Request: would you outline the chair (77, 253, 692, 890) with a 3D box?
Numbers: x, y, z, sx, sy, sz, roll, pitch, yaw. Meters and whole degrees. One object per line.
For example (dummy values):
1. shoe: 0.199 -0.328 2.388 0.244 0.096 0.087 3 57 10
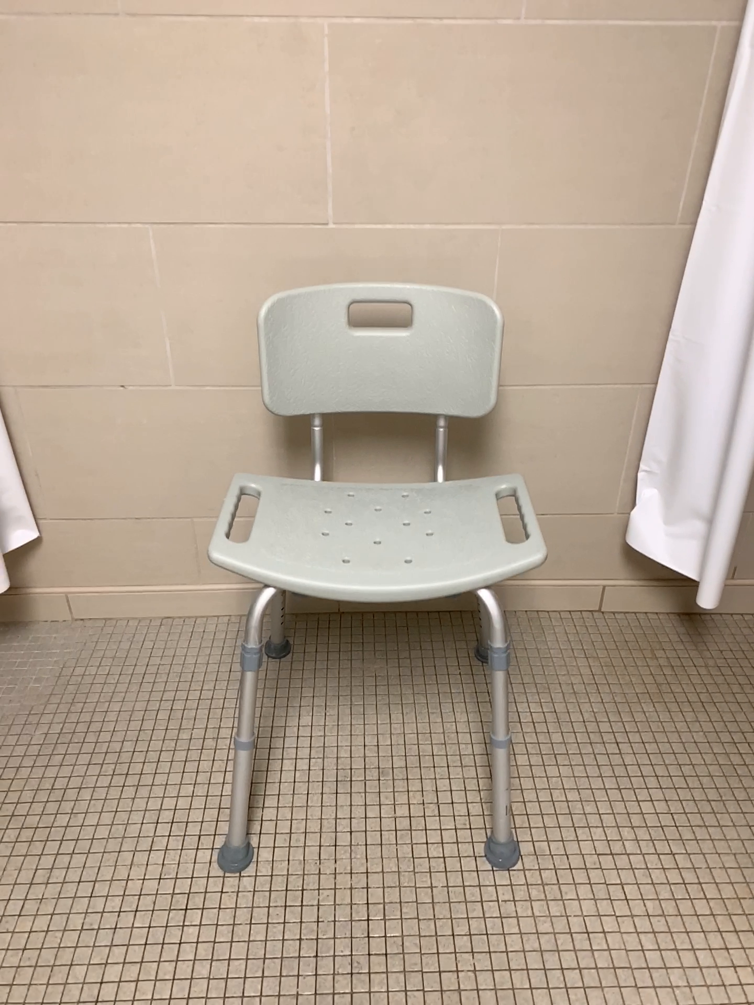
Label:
1. chair: 0.013 0.100 1.109 0.549 0.744 0.525 -1 35 1
